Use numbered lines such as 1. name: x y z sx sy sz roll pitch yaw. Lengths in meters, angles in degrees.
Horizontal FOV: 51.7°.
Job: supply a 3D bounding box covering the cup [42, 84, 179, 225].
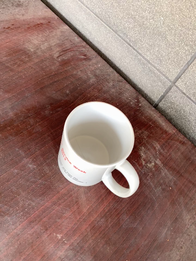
1. cup: 0.005 0.034 0.255 0.120 0.100 0.090 45 60 12
